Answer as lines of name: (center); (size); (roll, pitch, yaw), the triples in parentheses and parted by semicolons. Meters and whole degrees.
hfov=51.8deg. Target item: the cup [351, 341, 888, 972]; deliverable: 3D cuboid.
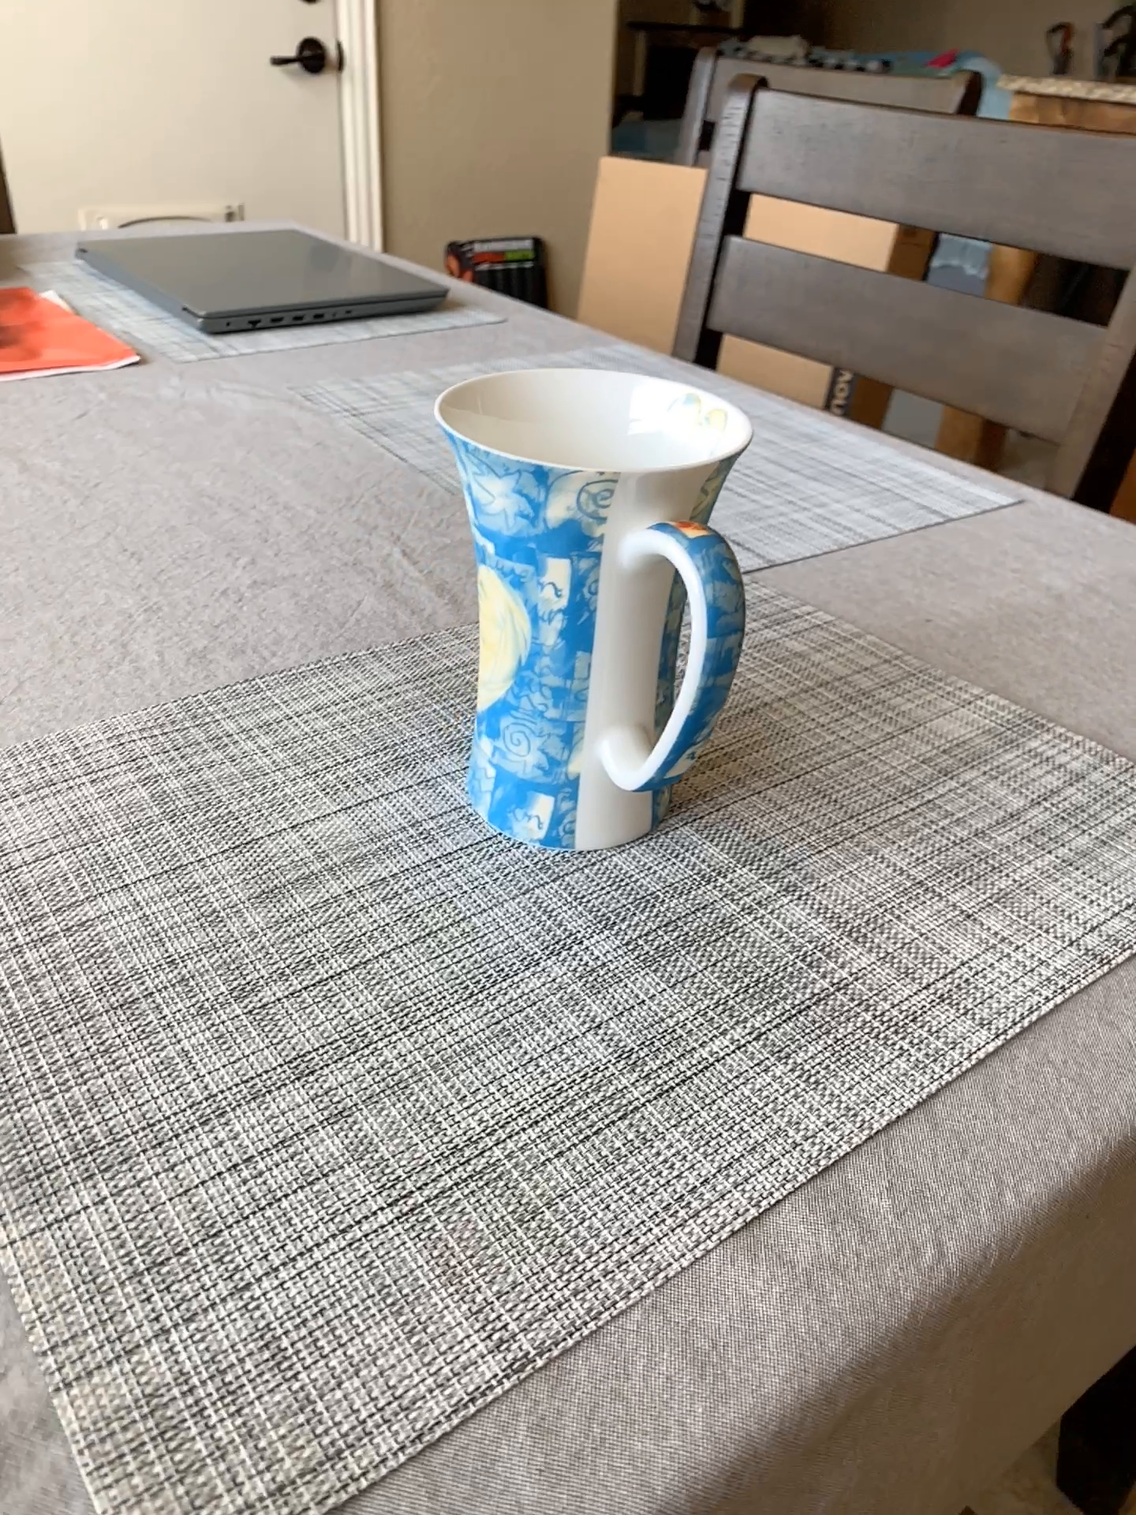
cup: (0.005, -0.045, 0.401); (0.099, 0.148, 0.153); (-15, 37, -28)
